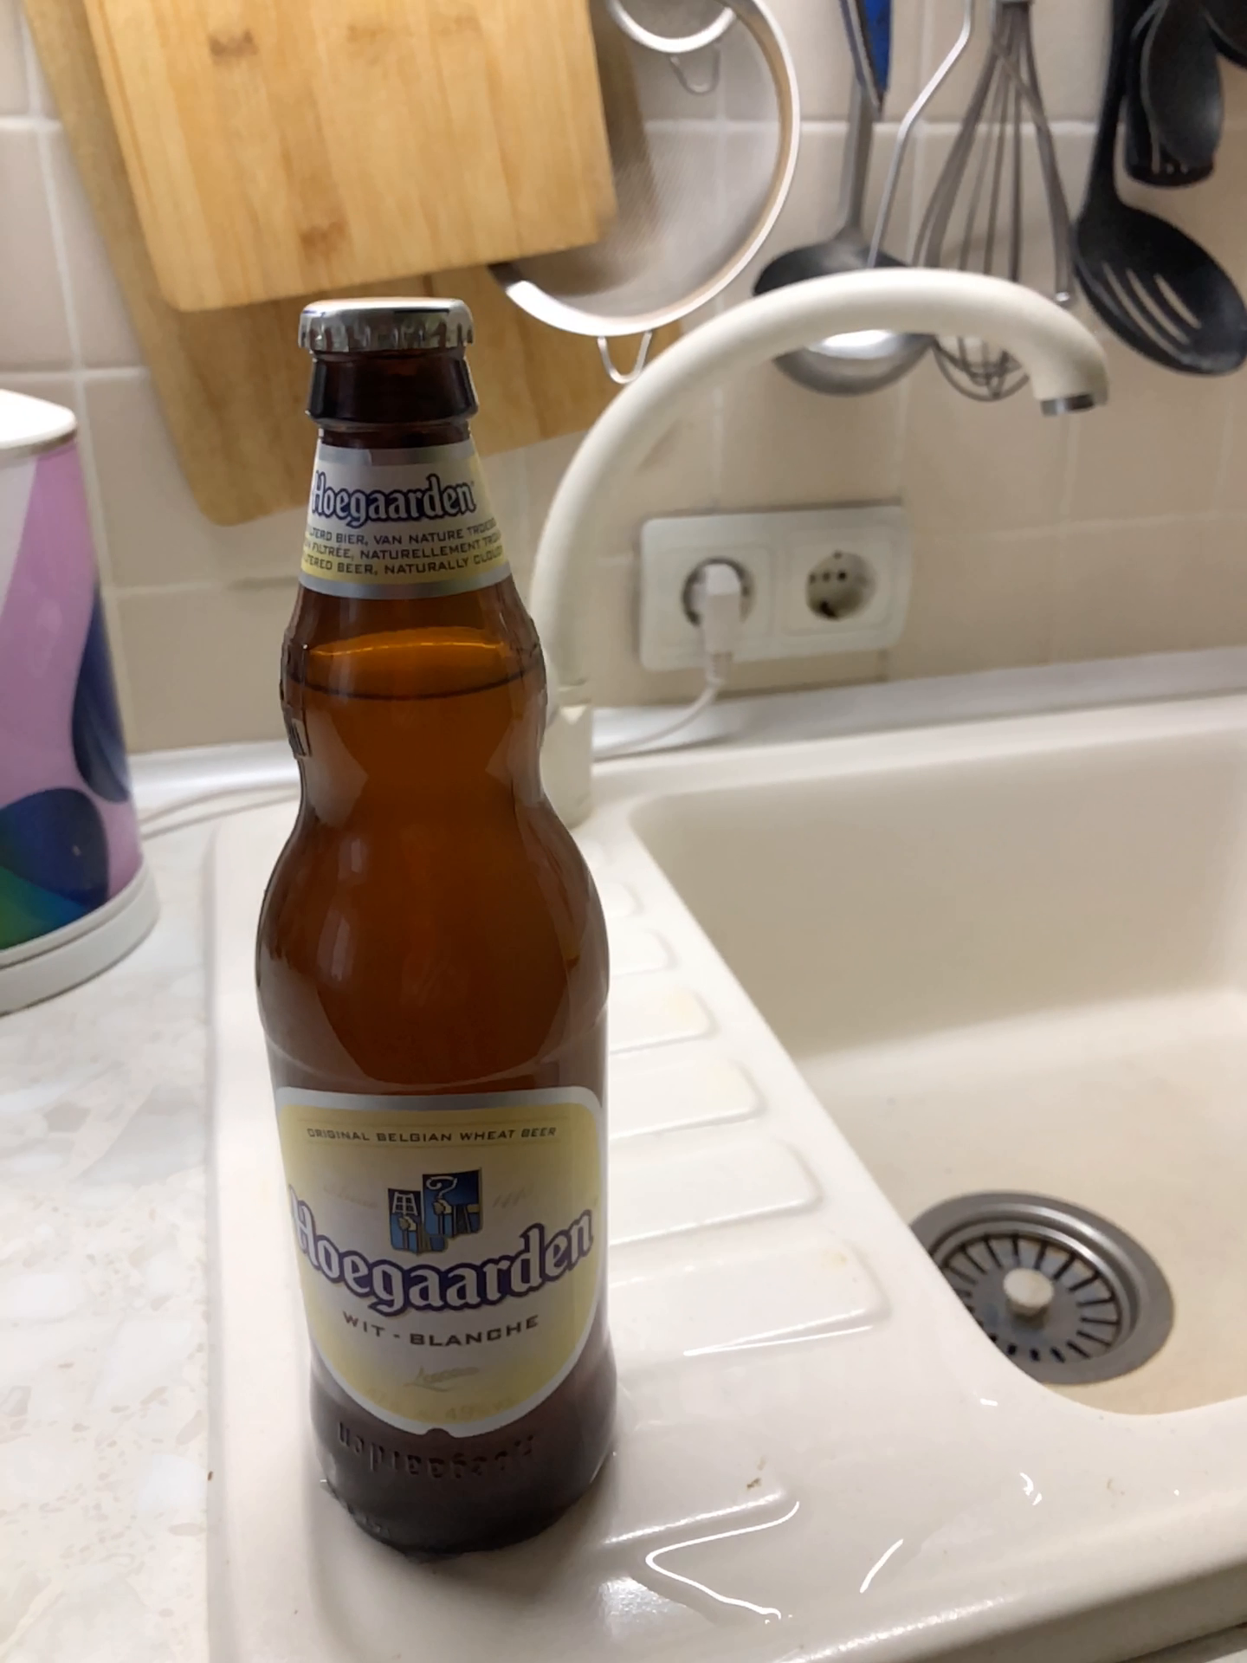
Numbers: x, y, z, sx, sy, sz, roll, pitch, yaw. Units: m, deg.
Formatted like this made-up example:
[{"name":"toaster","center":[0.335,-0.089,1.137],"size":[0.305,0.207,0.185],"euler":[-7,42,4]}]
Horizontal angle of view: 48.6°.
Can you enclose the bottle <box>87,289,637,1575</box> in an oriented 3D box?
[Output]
[{"name":"bottle","center":[-0.034,0.026,0.253],"size":[0.070,0.231,0.060],"euler":[0,23,2]}]
